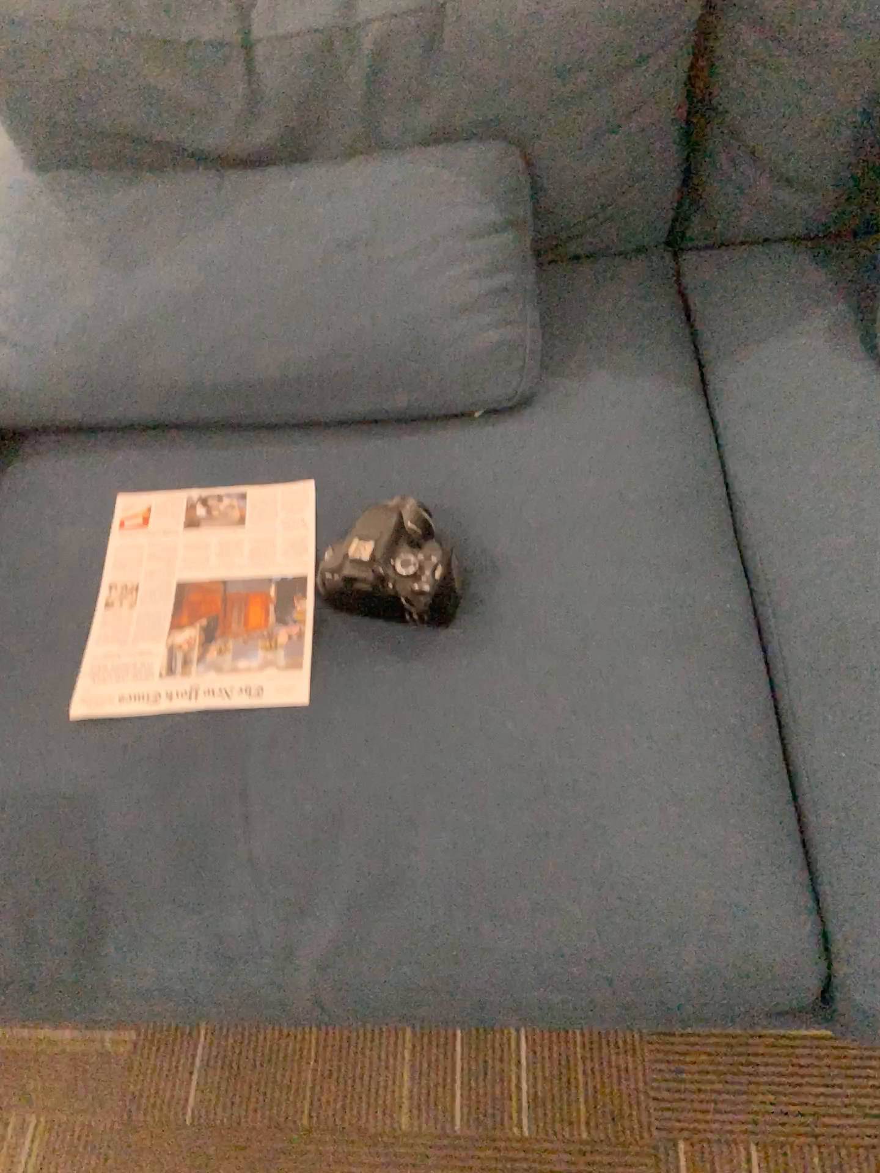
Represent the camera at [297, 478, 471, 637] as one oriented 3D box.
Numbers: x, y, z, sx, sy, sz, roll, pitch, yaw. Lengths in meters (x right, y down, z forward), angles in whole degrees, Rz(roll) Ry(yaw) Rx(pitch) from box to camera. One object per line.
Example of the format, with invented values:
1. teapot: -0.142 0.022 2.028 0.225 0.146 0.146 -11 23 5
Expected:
1. camera: -0.054 -0.032 0.938 0.140 0.100 0.110 9 55 16
